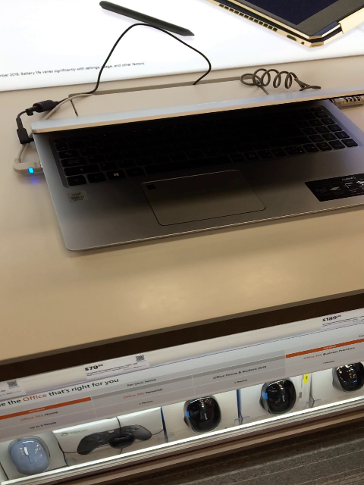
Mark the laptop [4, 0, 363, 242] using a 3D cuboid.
[{"bbox_3d":[0.040,-0.152,0.546,0.419,0.142,0.241,-10,49,-6],"label":"laptop"}]
